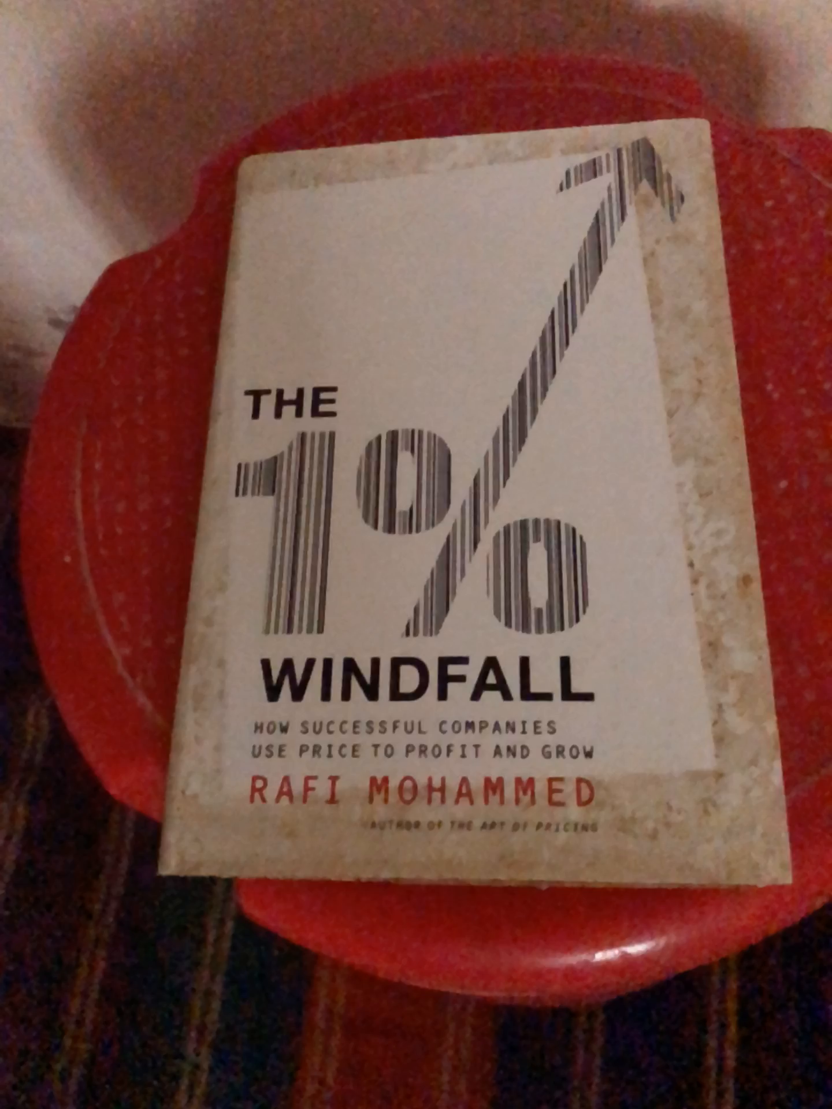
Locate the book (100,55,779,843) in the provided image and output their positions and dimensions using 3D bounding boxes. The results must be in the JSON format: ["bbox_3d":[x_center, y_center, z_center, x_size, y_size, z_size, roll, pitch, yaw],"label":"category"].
[{"bbox_3d":[0.008,-0.043,0.308,0.180,0.040,0.260,-1,70,8],"label":"book"}]
